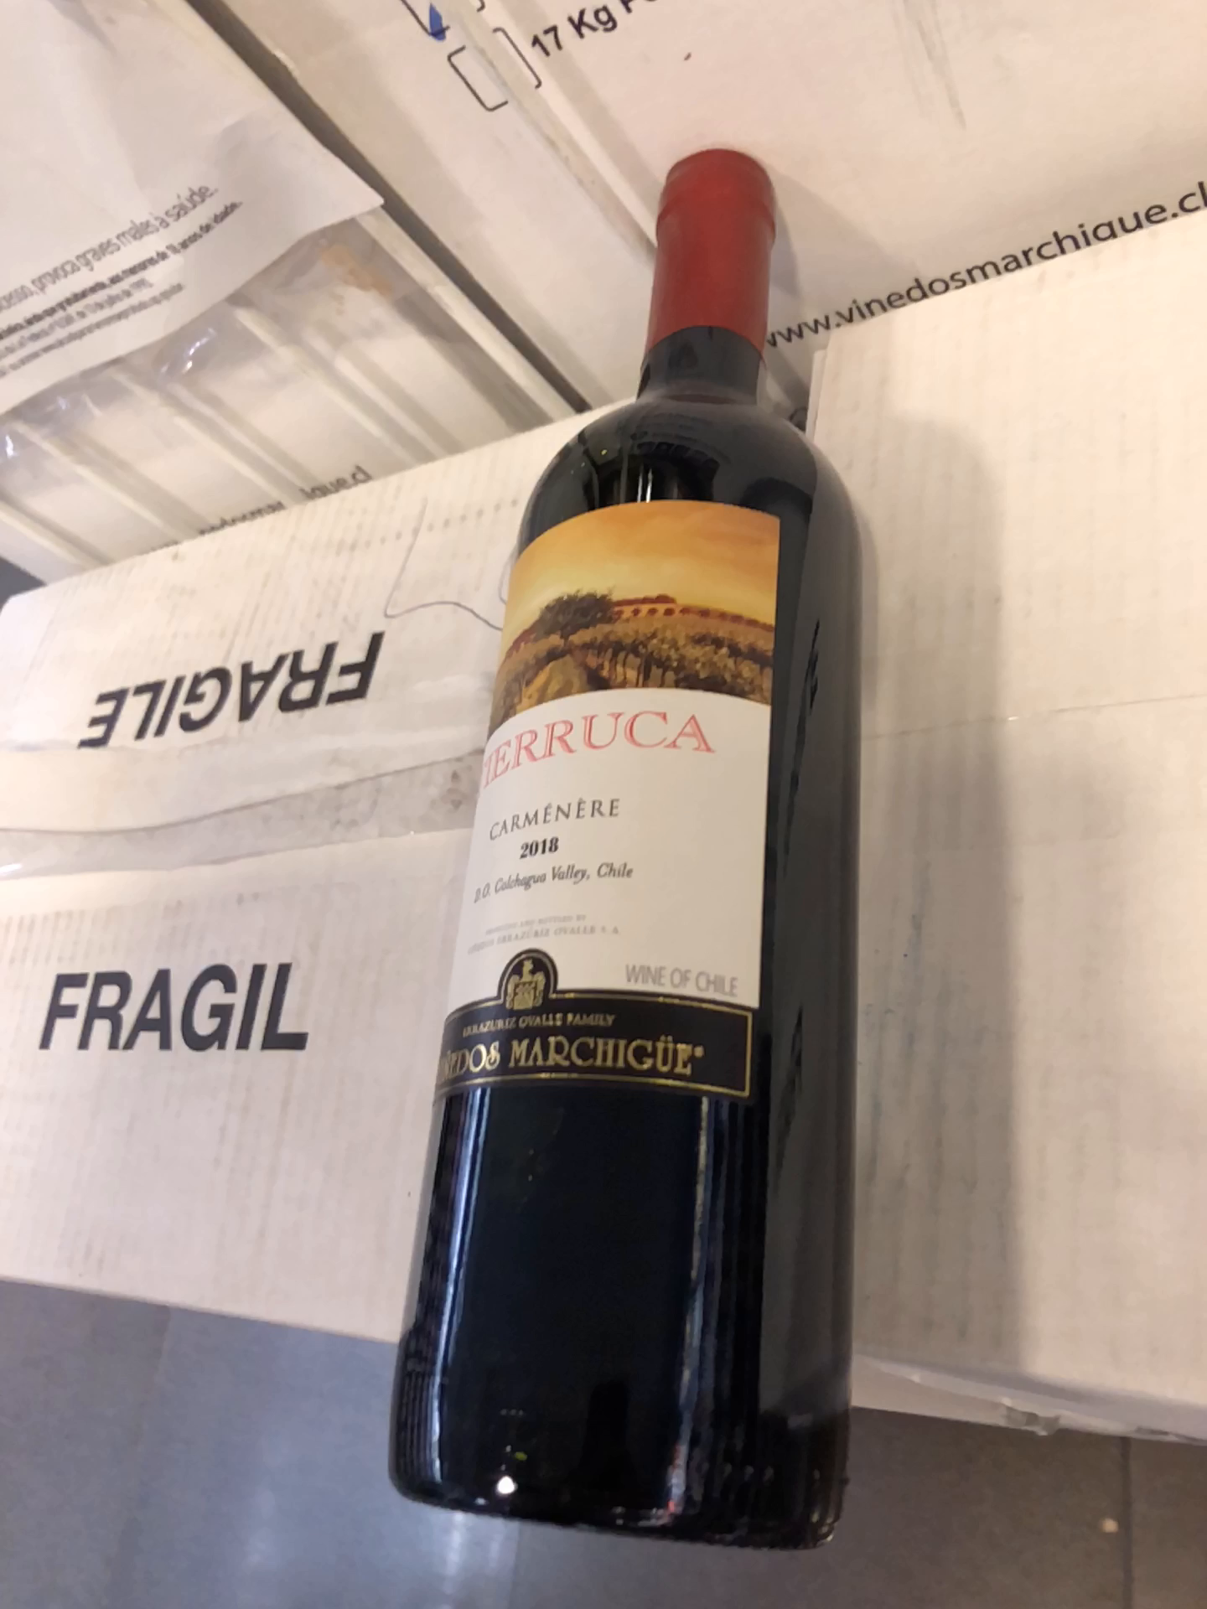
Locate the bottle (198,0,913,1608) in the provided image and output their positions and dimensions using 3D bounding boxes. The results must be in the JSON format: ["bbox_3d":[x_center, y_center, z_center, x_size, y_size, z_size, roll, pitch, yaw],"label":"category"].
[{"bbox_3d":[0.009,-0.025,0.277,0.080,0.080,0.321,-10,62,33],"label":"bottle"}]
